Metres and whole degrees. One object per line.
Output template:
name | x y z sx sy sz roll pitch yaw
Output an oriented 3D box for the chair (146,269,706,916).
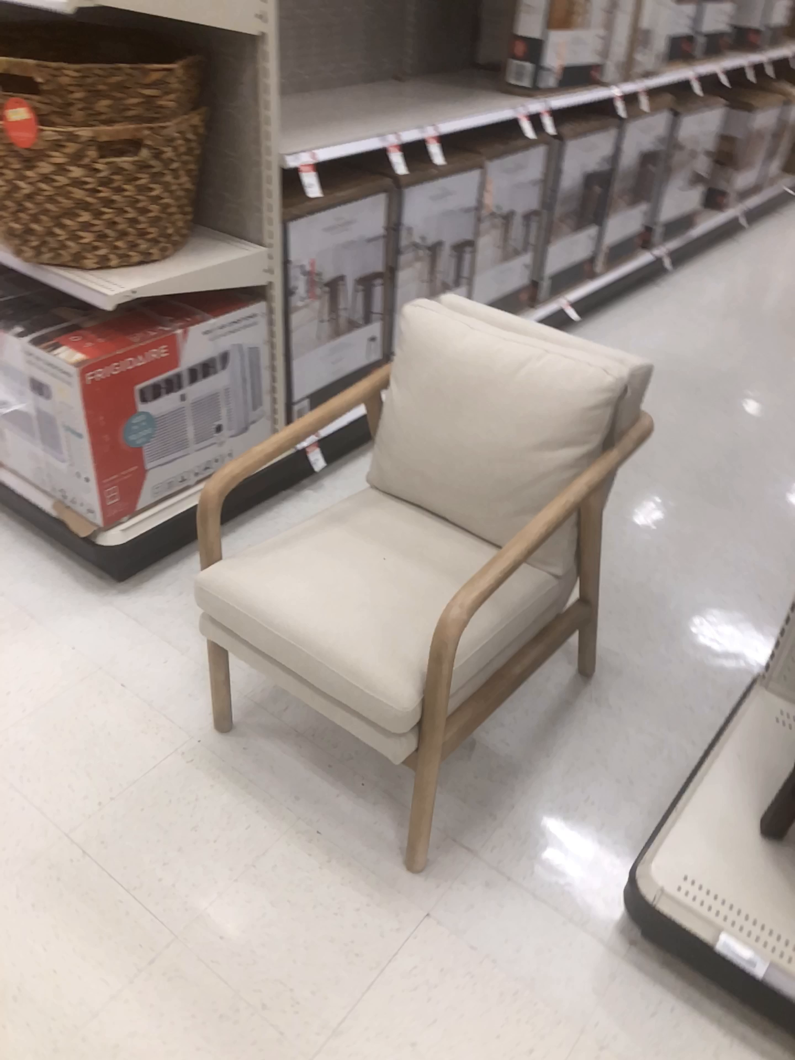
chair | 0.058 0.060 1.664 0.581 0.806 0.763 27 41 29
